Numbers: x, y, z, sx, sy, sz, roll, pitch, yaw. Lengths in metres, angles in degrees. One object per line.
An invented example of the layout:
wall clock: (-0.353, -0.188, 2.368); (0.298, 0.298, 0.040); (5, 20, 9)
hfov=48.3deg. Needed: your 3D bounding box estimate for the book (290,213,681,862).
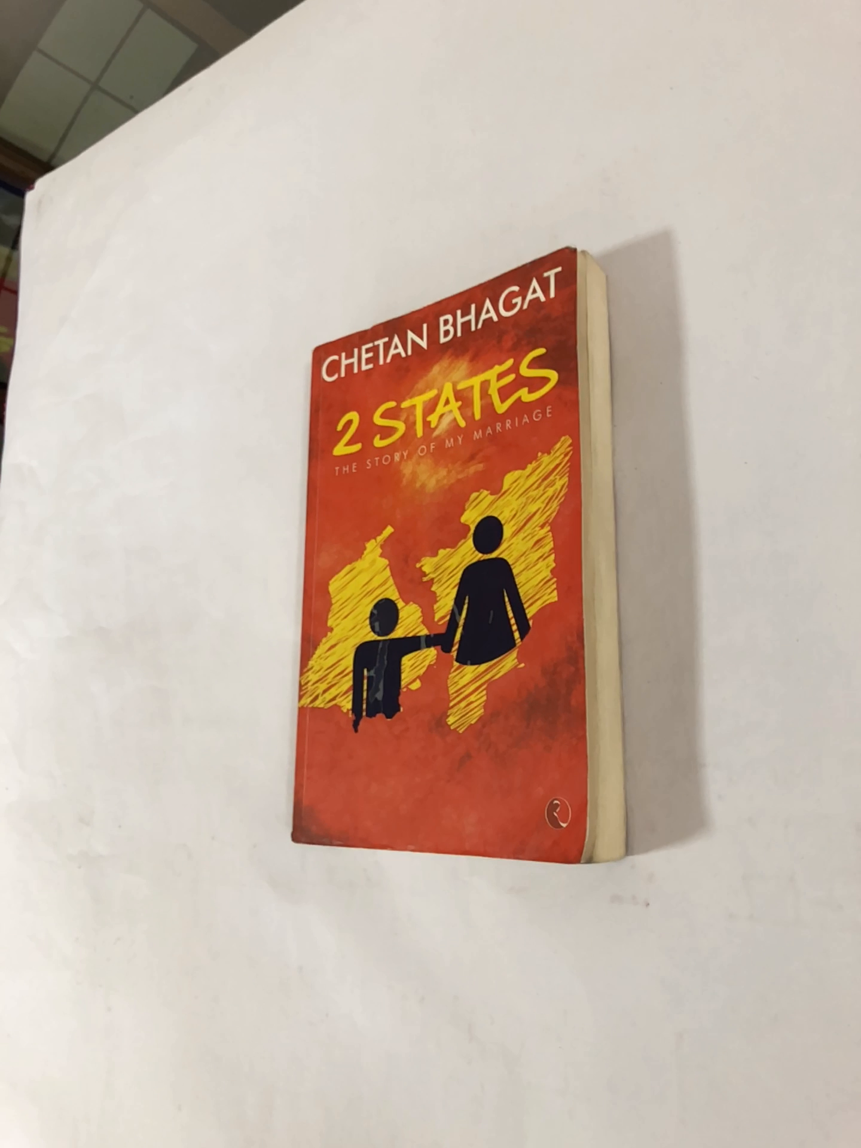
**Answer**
book: (0.014, -0.006, 0.325); (0.123, 0.040, 0.190); (-9, 75, 37)
